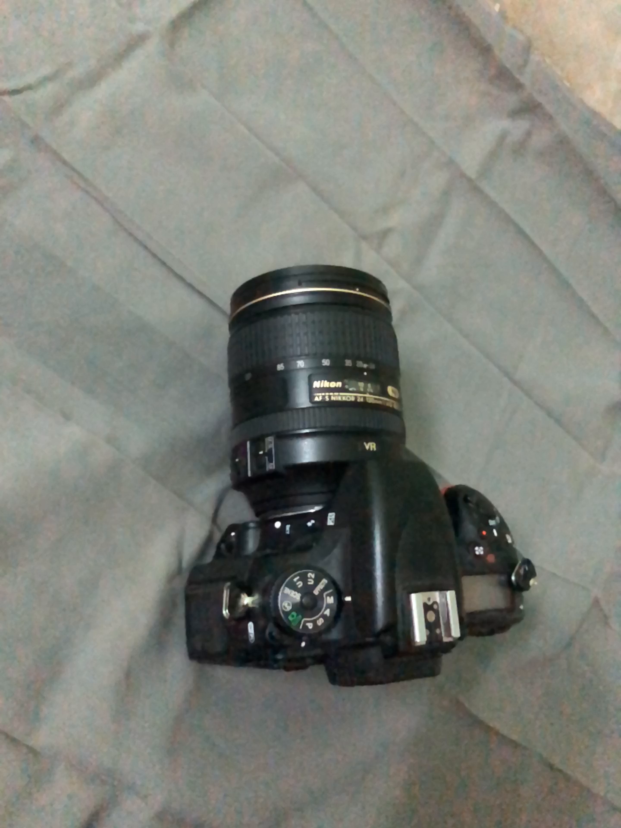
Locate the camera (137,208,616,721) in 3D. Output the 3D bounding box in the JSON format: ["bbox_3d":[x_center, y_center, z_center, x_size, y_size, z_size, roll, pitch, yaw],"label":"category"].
[{"bbox_3d":[0.017,0.029,0.311,0.146,0.134,0.164,3,74,-31],"label":"camera"}]
